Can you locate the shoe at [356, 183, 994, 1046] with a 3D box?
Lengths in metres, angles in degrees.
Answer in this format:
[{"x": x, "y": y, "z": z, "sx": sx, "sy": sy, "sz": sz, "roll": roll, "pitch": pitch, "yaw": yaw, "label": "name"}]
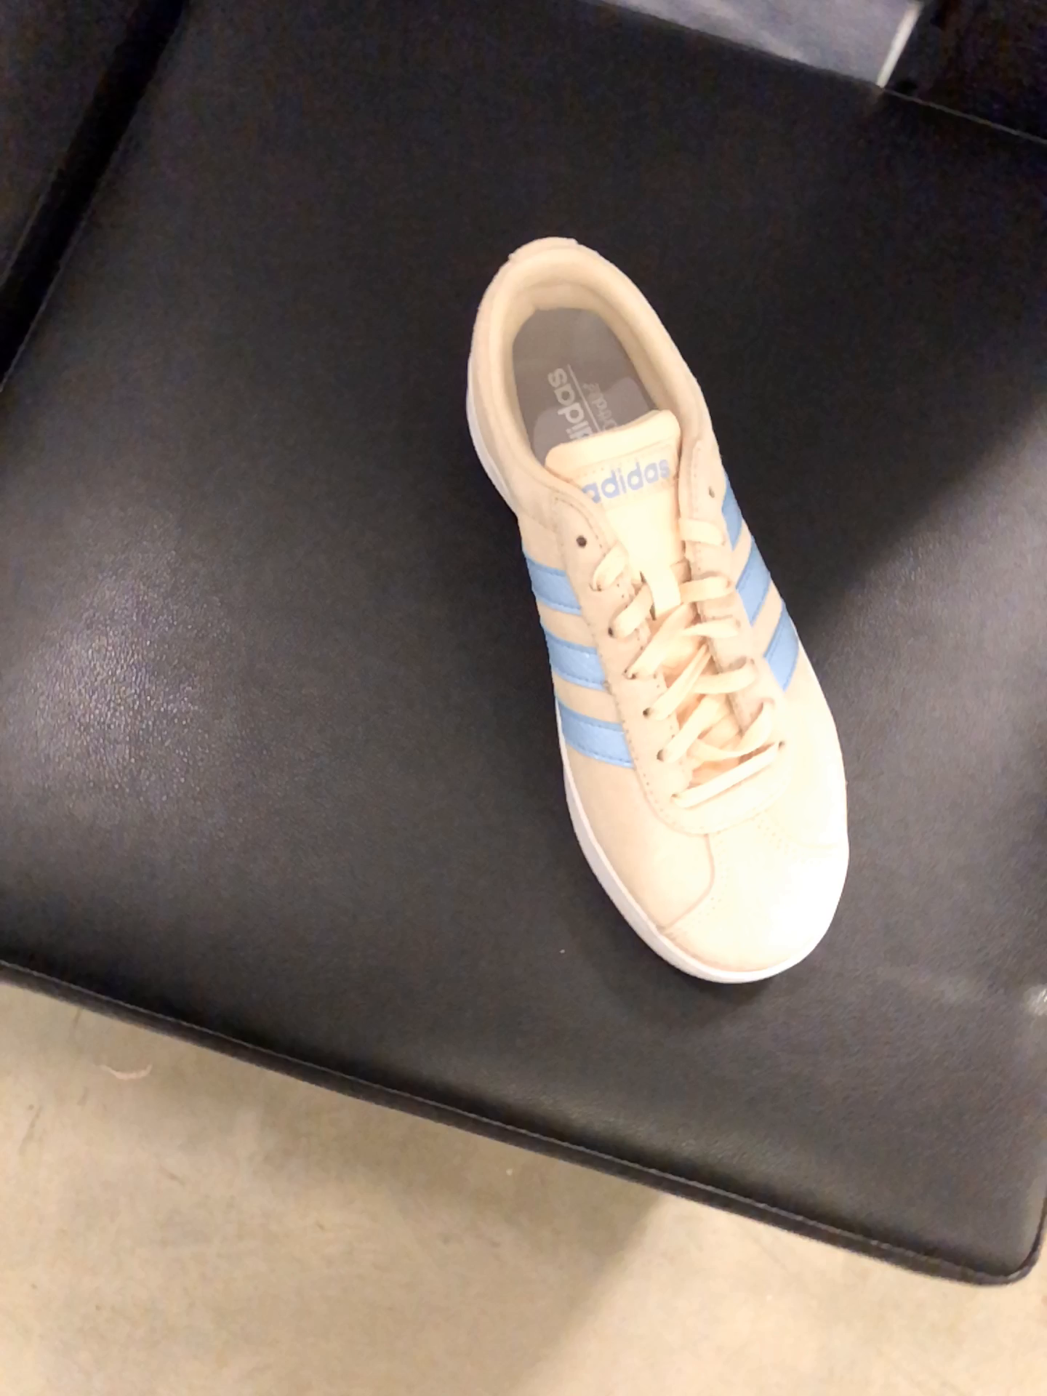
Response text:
[{"x": 0.037, "y": -0.027, "z": 0.397, "sx": 0.100, "sy": 0.090, "sz": 0.260, "roll": -20, "pitch": 77, "yaw": -10, "label": "shoe"}]
